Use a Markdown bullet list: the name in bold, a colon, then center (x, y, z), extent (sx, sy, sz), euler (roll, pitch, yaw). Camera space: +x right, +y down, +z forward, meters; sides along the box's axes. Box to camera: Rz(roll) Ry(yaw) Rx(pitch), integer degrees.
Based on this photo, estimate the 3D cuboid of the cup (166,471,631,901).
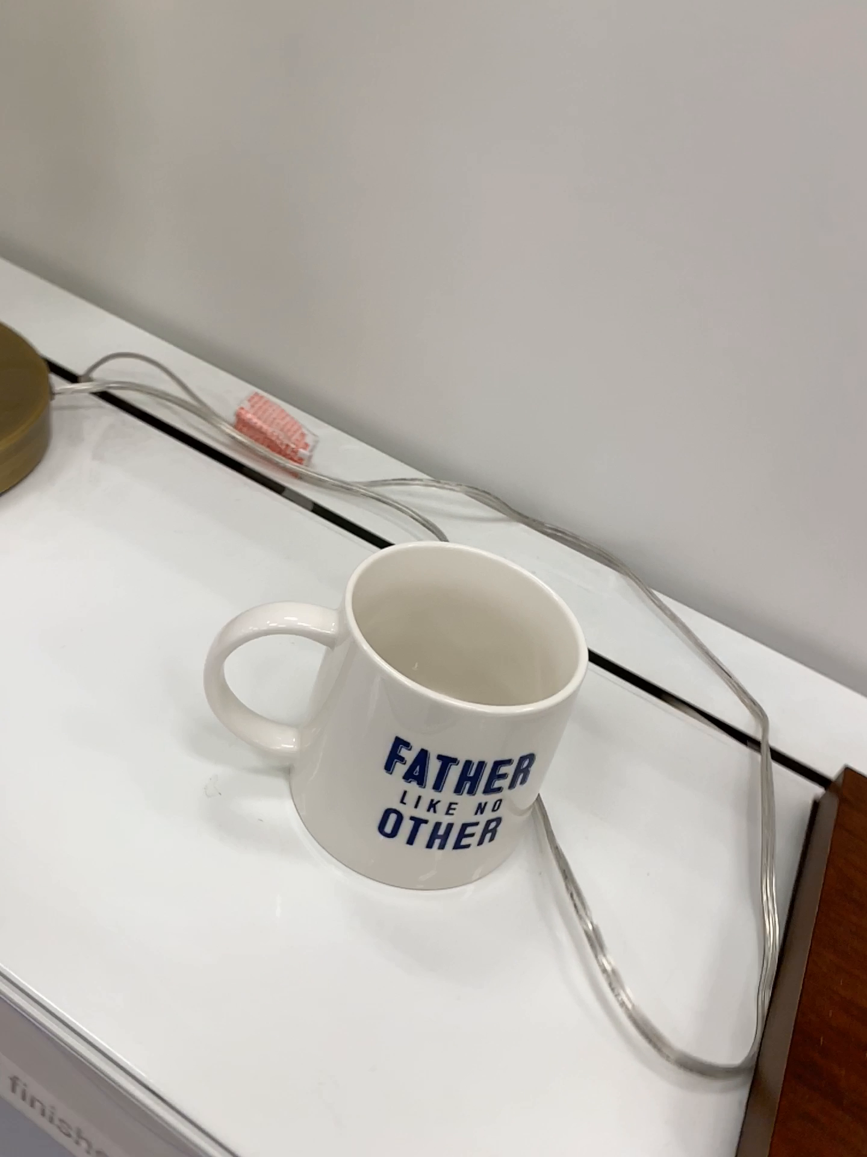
- **cup**: center (-0.022, 0.049, 0.397), extent (0.160, 0.119, 0.121), euler (9, 37, -11)
